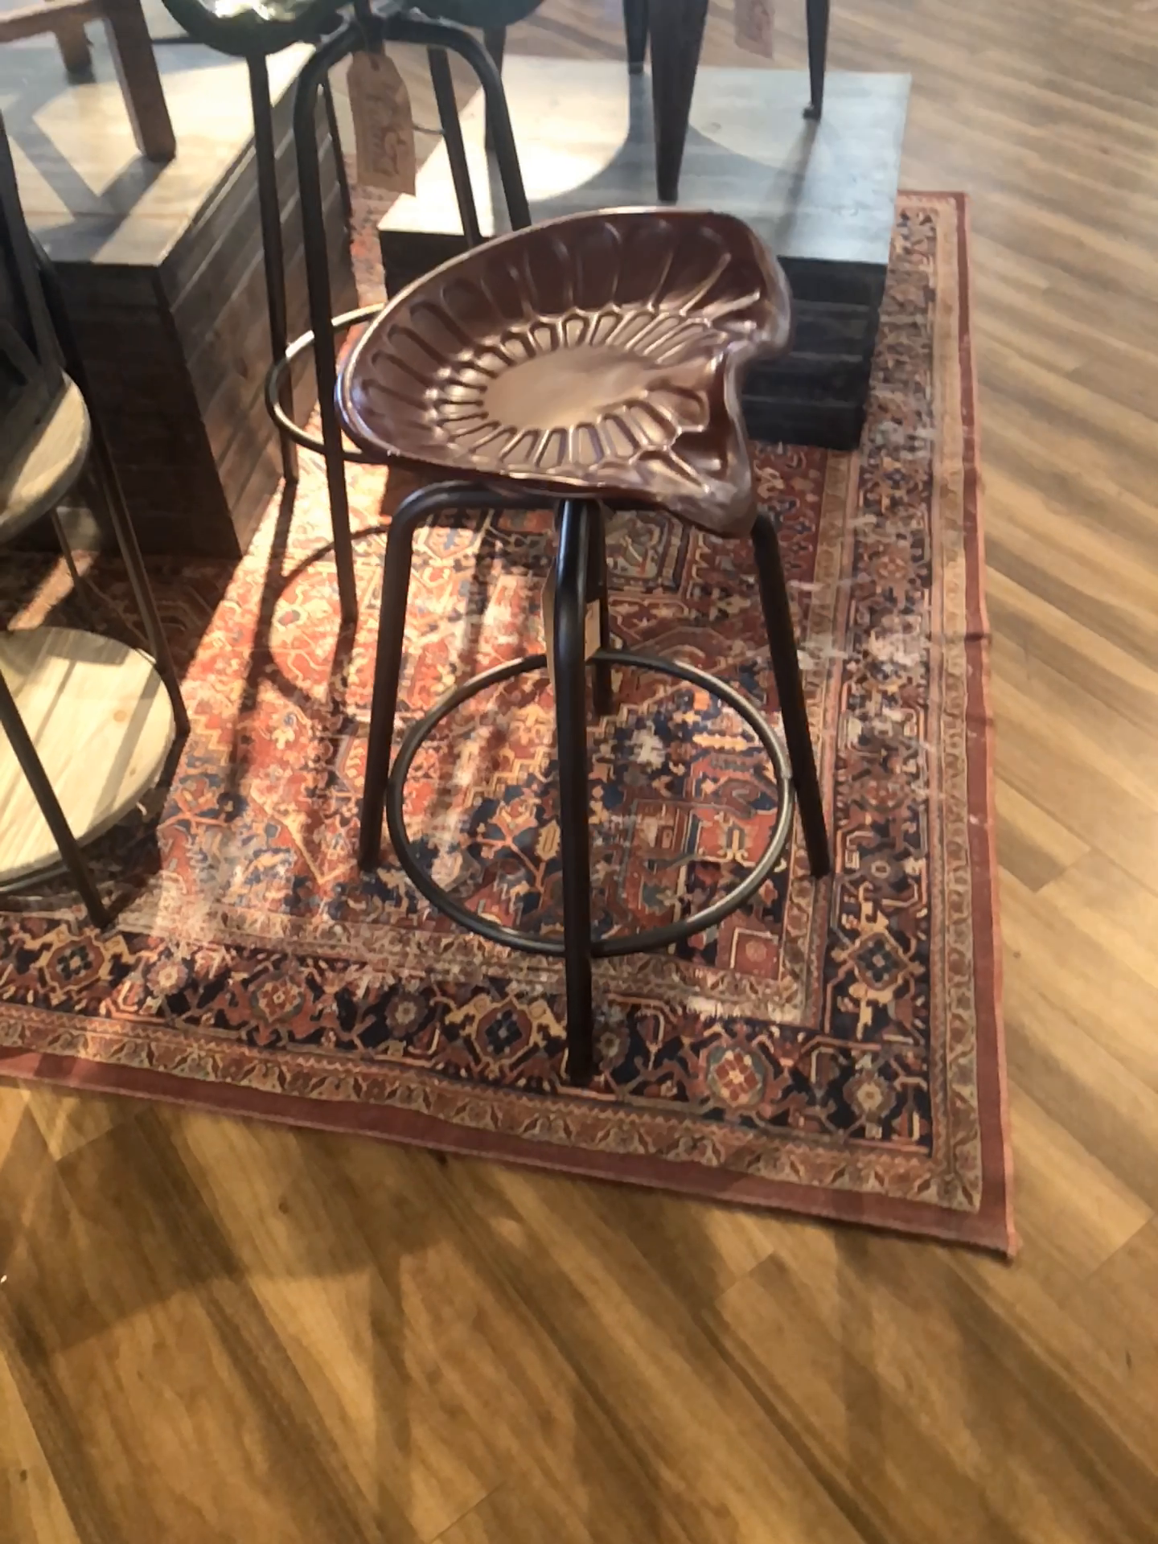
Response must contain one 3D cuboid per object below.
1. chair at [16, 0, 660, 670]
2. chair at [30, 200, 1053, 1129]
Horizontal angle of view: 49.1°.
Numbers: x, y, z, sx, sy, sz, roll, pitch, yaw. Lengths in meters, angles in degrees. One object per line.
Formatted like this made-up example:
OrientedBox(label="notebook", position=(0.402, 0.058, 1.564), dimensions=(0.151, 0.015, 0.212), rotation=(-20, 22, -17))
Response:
OrientedBox(label="chair", position=(-0.284, -0.674, 1.659), dimensions=(0.537, 0.737, 0.612), rotation=(-20, 49, -17))
OrientedBox(label="chair", position=(-0.006, -0.093, 1.176), dimensions=(0.610, 0.627, 0.569), rotation=(1, 47, 3))
